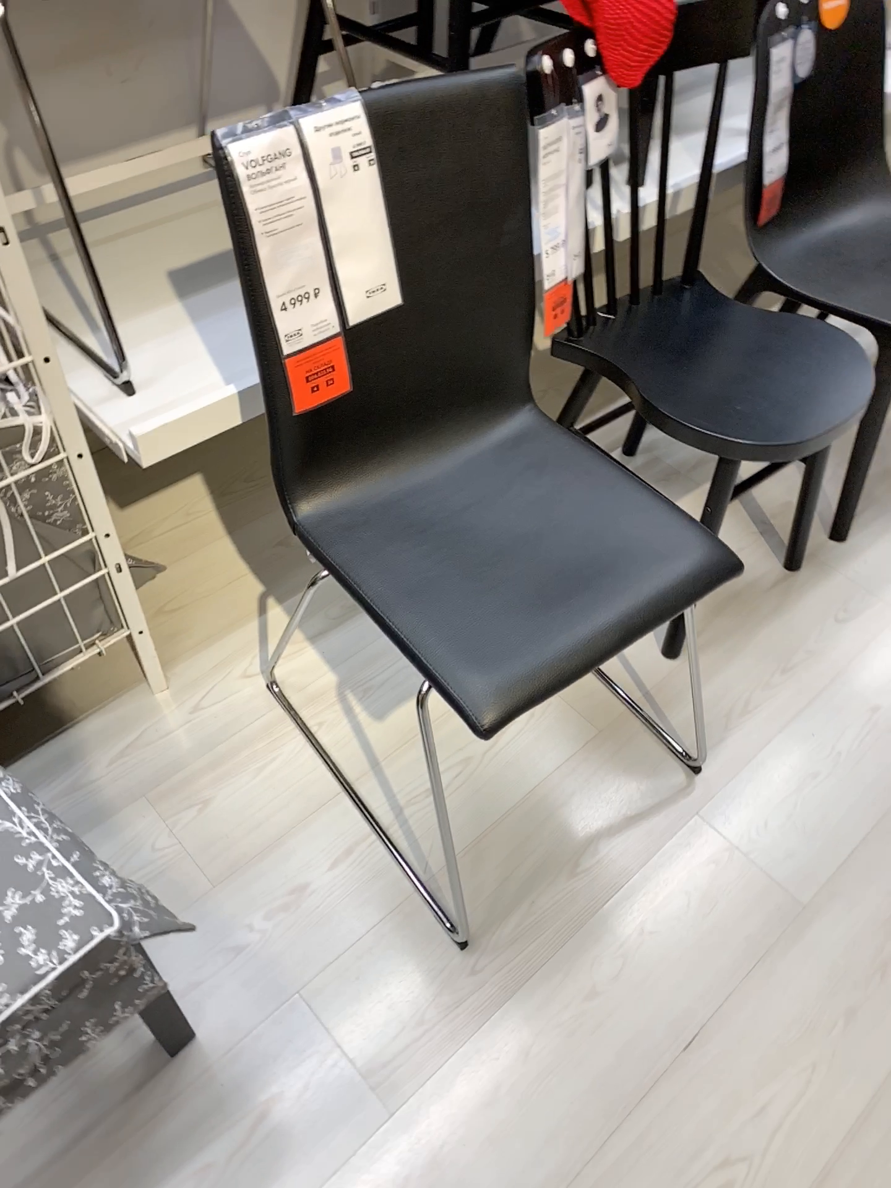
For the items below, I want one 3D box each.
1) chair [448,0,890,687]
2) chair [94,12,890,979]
[{"bbox_3d":[0.393,-0.397,1.462,0.472,0.799,0.599,-33,57,-28],"label":"chair"},{"bbox_3d":[0.058,-0.094,1.121,0.532,0.869,0.609,-29,56,-26],"label":"chair"}]
